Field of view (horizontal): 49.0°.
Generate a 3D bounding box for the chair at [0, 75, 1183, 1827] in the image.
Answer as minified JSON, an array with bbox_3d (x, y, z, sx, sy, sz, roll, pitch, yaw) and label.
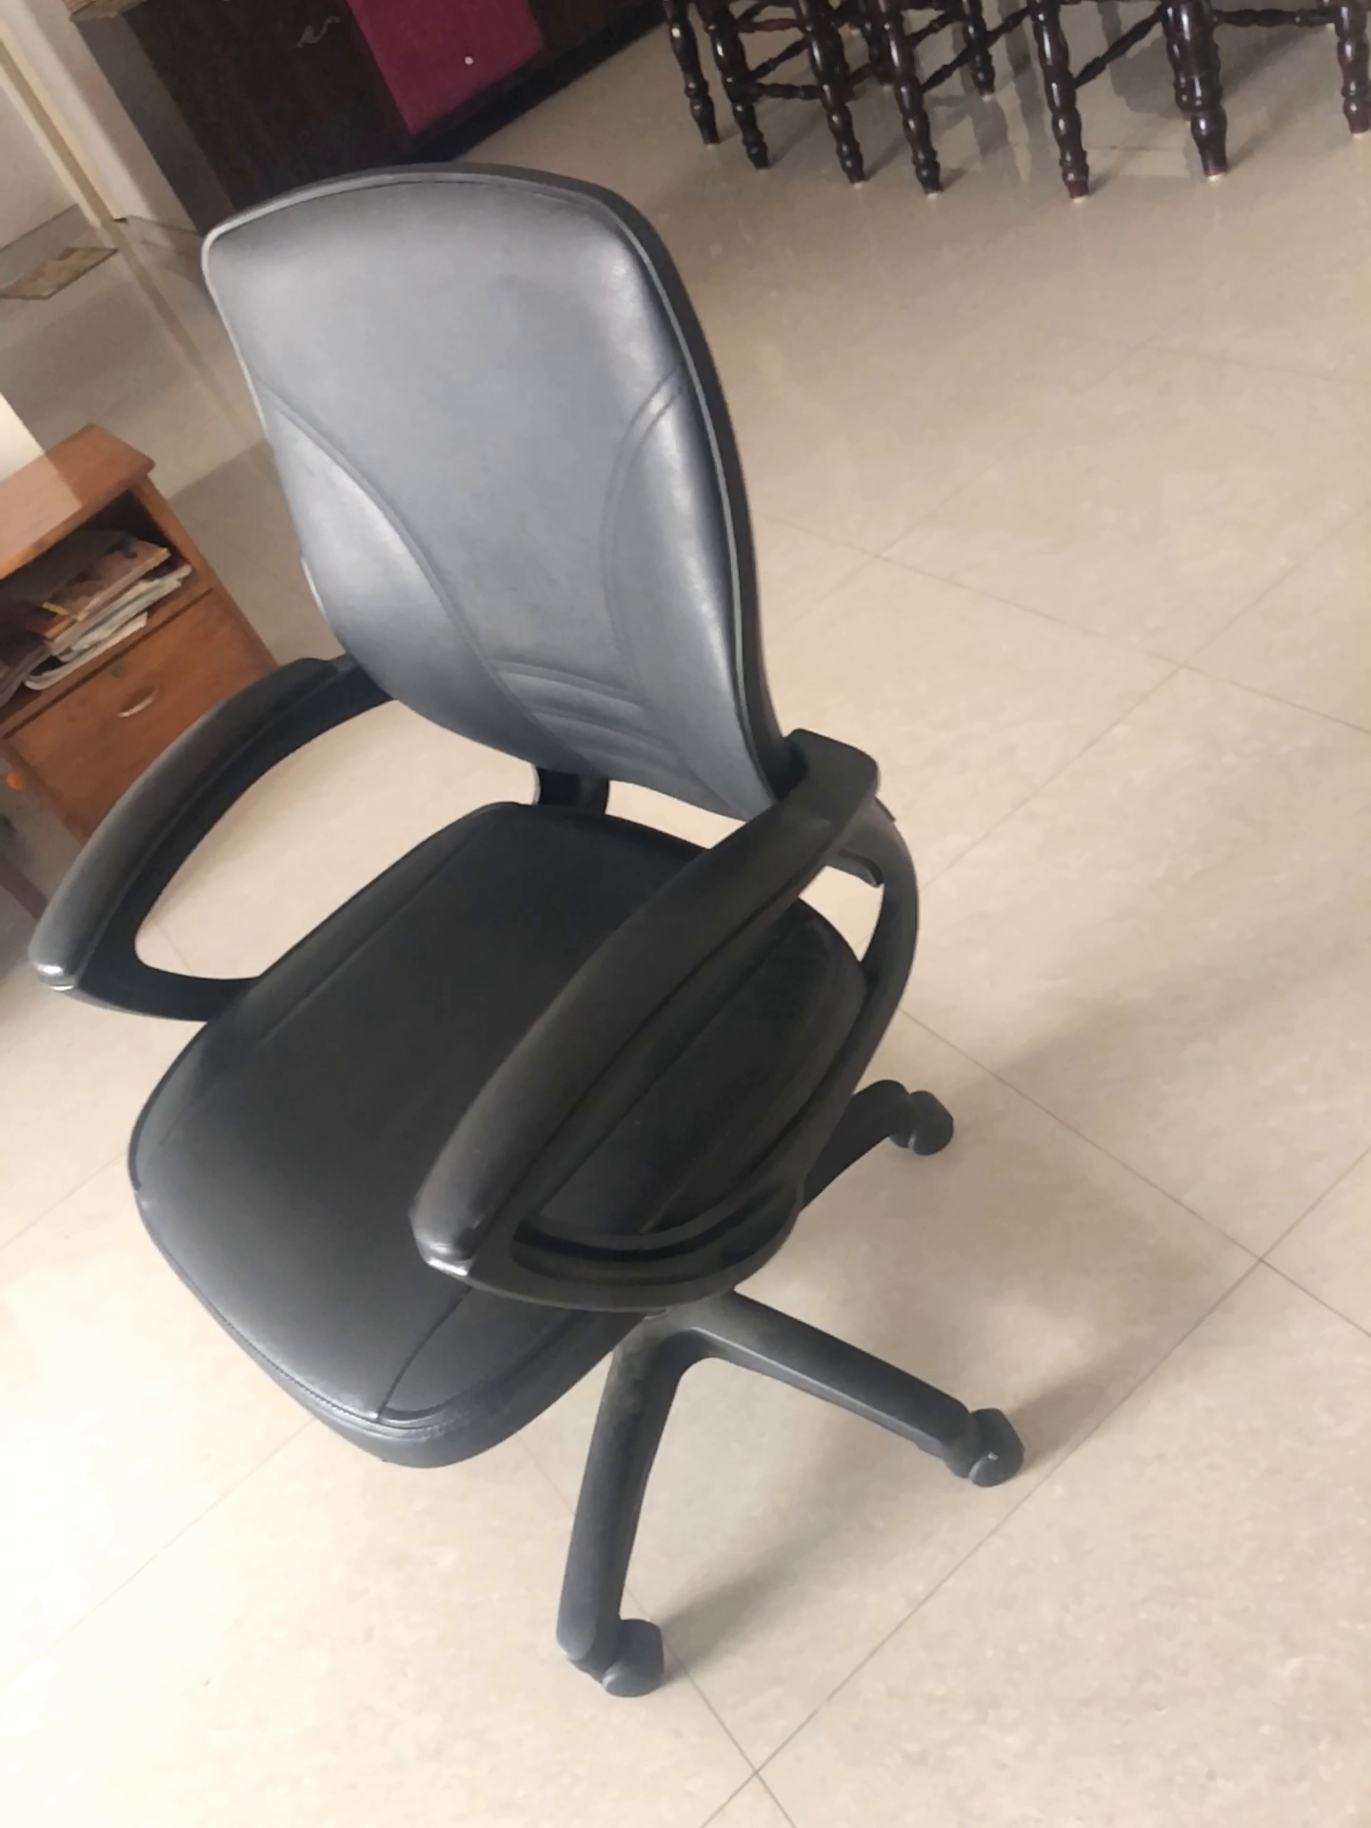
[{"bbox_3d":[-0.192,0.058,1.109,0.704,0.953,0.631,24,62,44],"label":"chair"}]
